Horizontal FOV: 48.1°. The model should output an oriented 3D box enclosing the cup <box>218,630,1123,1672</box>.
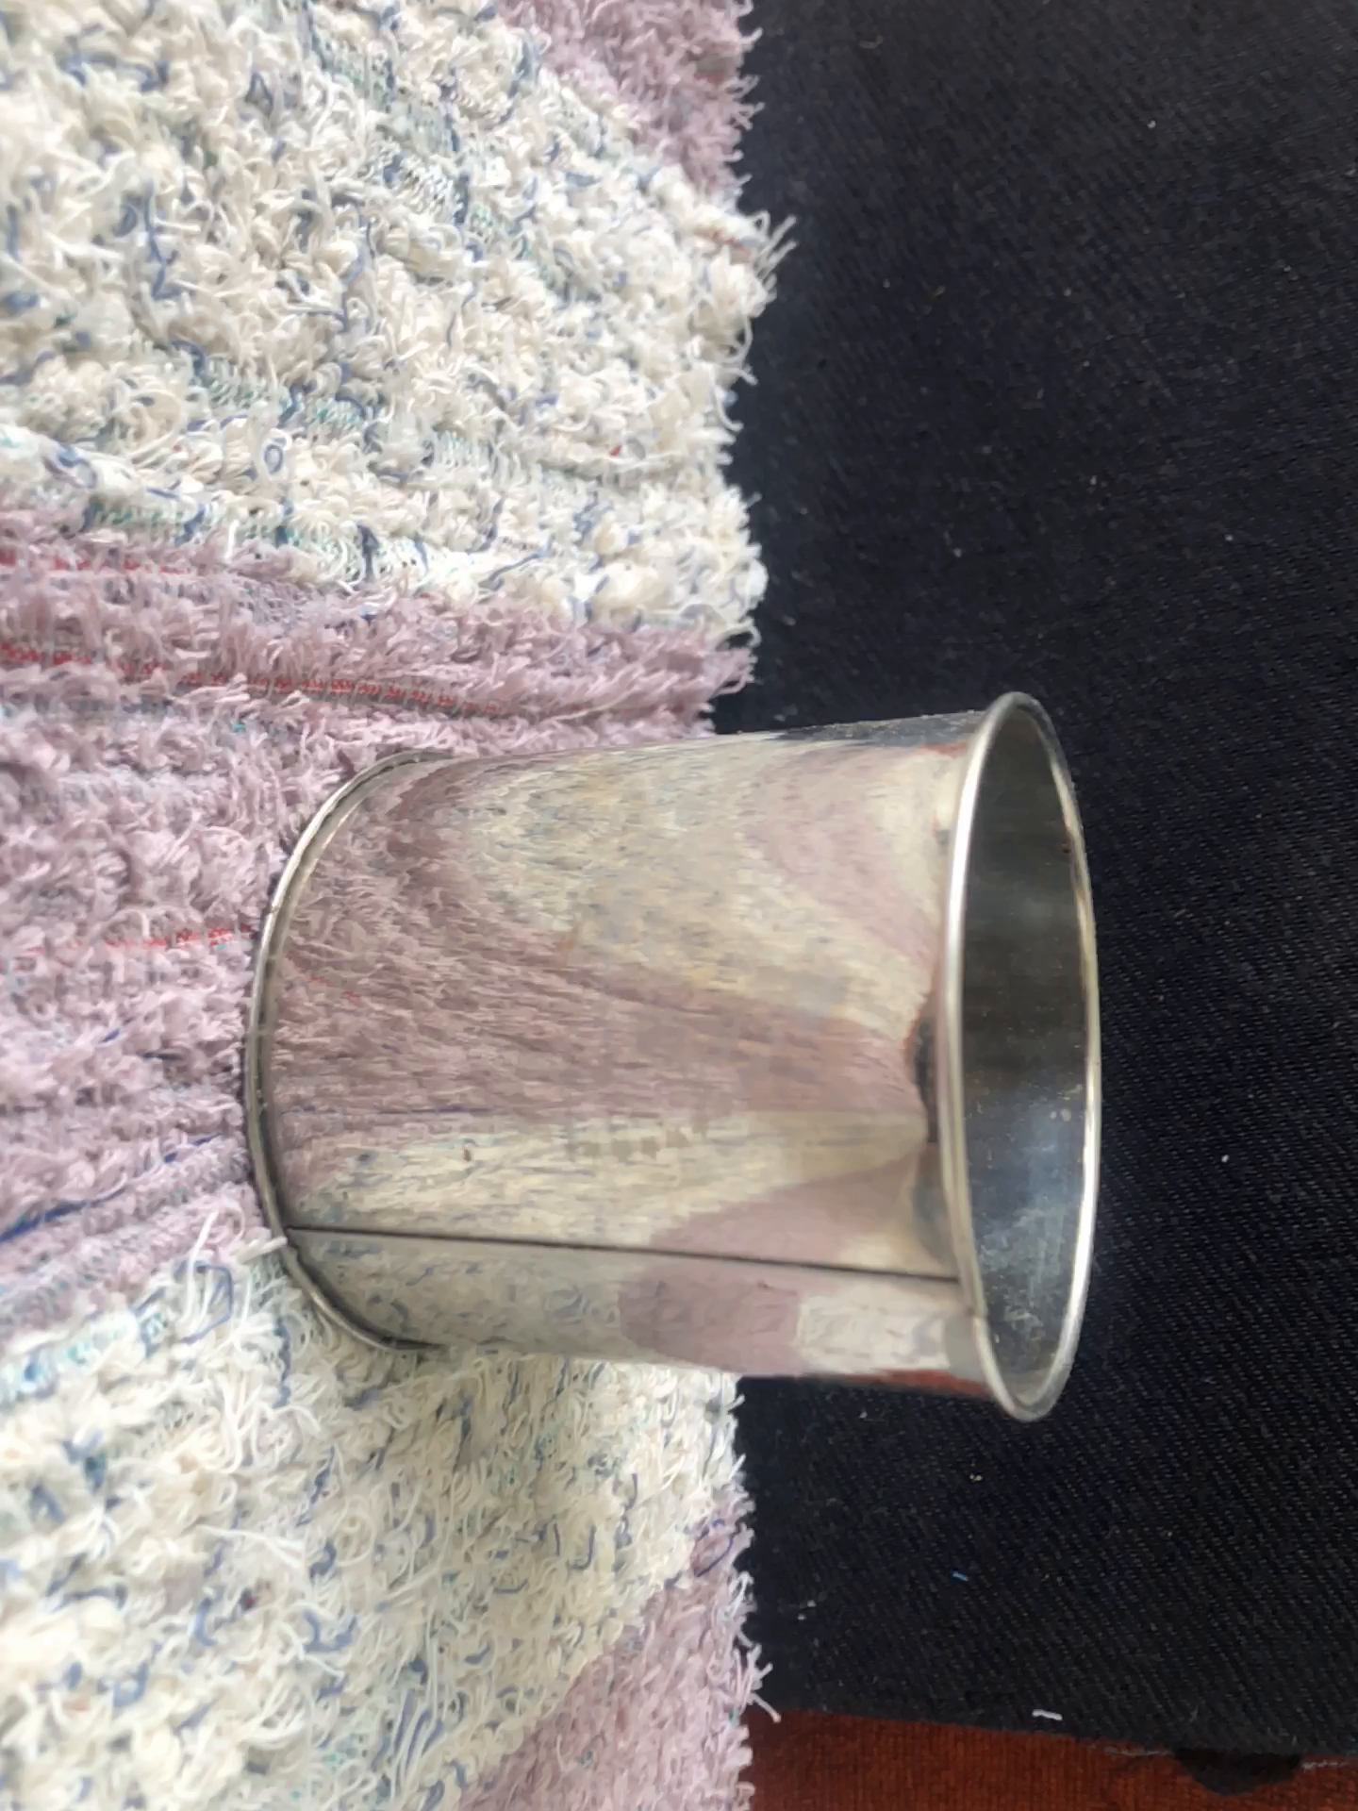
[{"bbox_3d":[0.006,0.020,0.182,0.081,0.079,0.090,-10,99,-67],"label":"cup"}]
